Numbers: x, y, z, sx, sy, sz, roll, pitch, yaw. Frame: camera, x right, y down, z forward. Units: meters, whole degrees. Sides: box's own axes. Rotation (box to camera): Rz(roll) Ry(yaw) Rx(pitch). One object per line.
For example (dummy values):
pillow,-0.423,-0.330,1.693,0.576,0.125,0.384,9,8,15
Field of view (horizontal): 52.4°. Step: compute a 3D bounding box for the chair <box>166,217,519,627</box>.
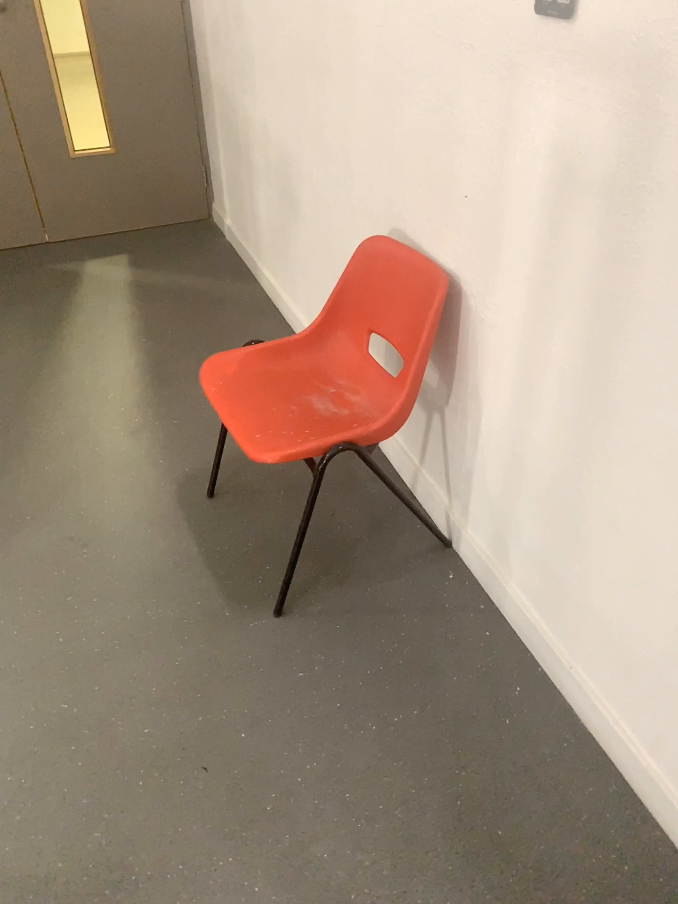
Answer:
chair,-0.004,-0.093,1.704,0.591,0.713,0.514,-19,41,-21
